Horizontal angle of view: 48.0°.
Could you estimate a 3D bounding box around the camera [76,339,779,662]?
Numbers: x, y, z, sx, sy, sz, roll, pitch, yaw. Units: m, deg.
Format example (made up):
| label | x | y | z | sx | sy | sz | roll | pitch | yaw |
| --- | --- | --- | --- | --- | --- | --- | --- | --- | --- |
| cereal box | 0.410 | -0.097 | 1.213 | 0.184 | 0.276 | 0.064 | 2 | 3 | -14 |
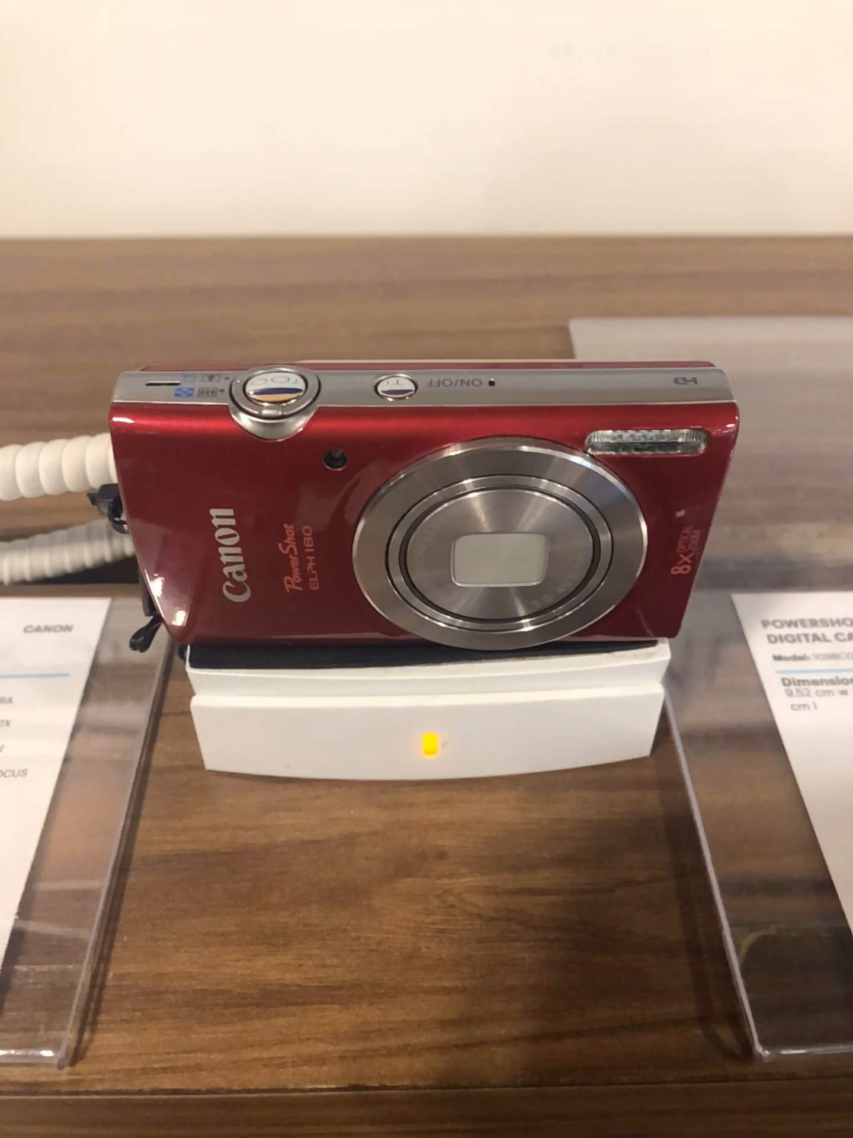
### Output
| label | x | y | z | sx | sy | sz | roll | pitch | yaw |
| --- | --- | --- | --- | --- | --- | --- | --- | --- | --- |
| camera | 0.000 | -0.010 | 0.159 | 0.097 | 0.051 | 0.023 | -1 | 49 | -1 |
